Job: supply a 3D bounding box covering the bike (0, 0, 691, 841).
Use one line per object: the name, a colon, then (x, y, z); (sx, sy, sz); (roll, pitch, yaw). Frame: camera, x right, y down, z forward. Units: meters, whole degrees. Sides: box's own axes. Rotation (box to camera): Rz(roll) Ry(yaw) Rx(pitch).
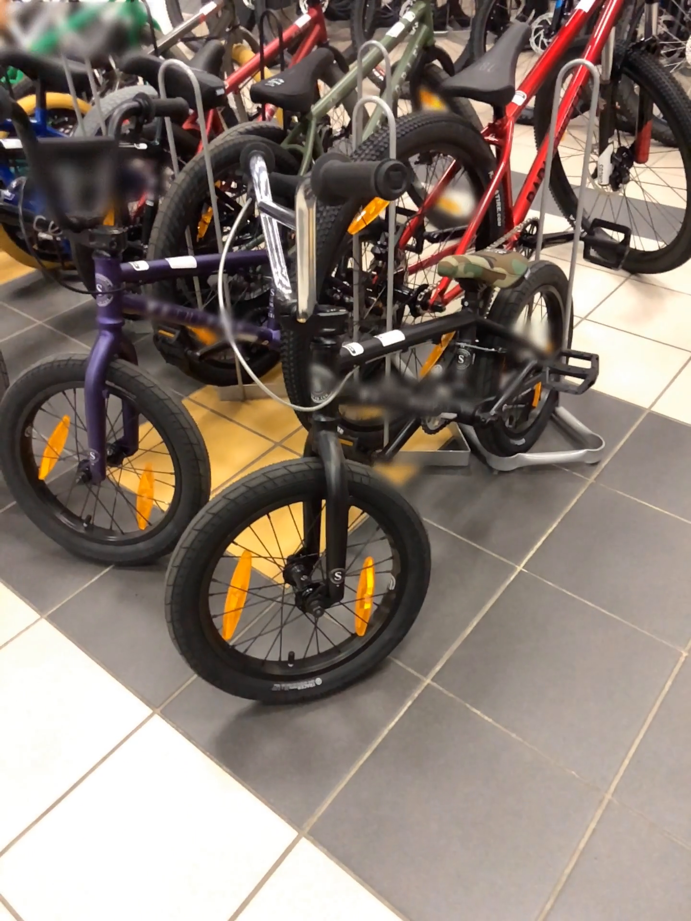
bike: (0.134, -0.218, 1.189); (0.678, 0.810, 1.075); (28, 46, 32)
